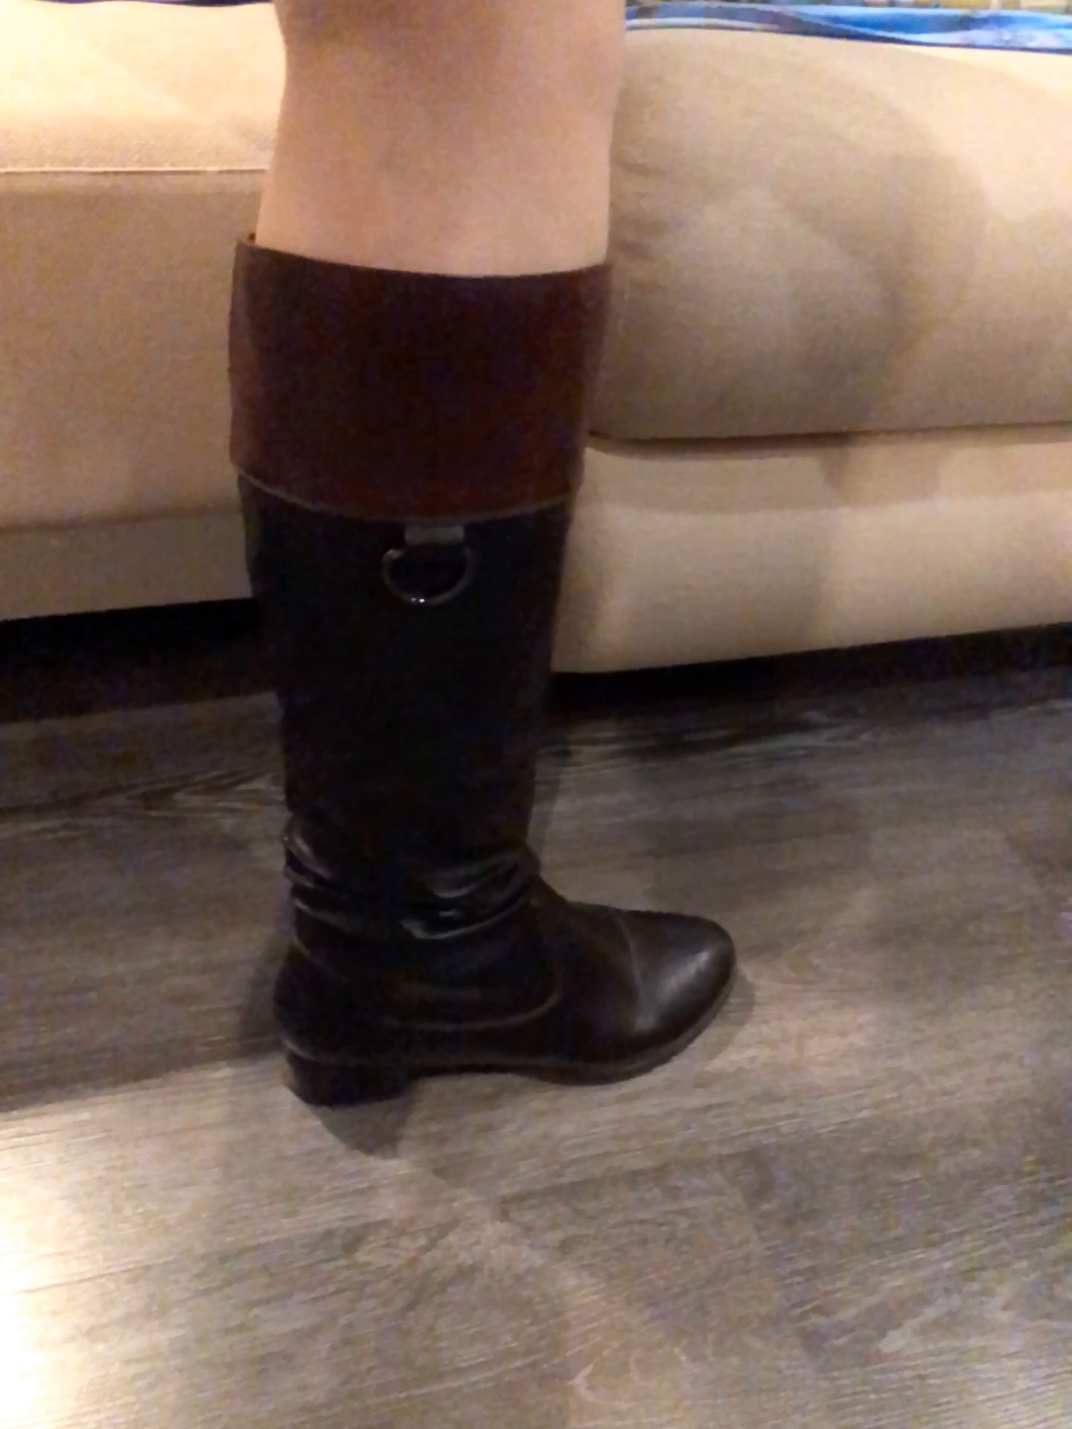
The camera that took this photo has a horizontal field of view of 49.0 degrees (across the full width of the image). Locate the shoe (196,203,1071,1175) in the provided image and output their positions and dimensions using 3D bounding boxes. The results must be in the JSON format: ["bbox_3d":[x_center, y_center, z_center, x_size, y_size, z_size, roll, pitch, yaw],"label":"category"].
[{"bbox_3d":[0.016,0.012,0.517,0.270,0.417,0.111,-7,41,-15],"label":"shoe"}]
